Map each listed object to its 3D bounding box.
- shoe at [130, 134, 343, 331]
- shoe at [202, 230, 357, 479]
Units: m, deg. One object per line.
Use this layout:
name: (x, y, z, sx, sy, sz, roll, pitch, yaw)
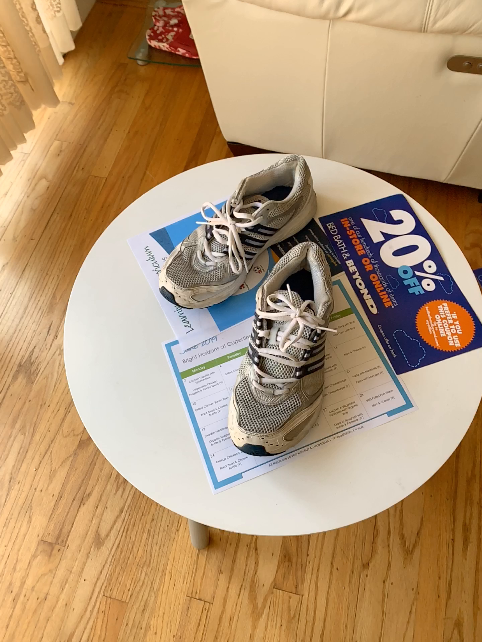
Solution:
shoe: (0.000, -0.127, 0.683, 0.280, 0.080, 0.110, -41, 68, -16)
shoe: (0.055, 0.033, 0.611, 0.120, 0.080, 0.280, 12, 64, 9)
